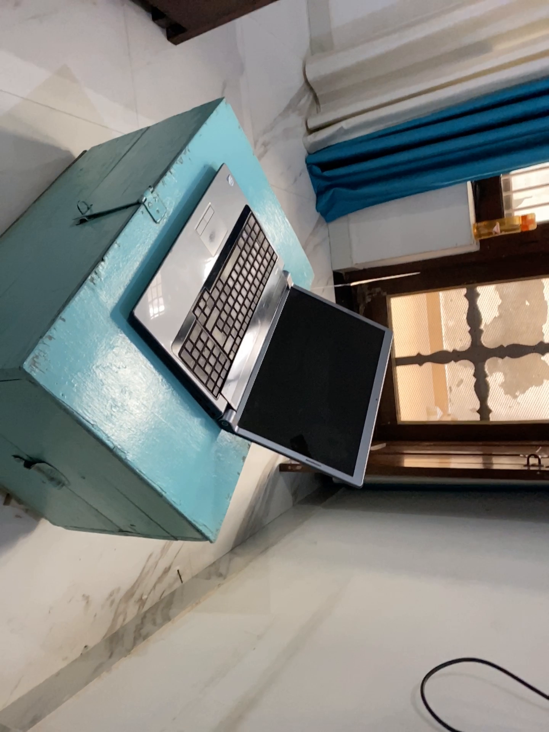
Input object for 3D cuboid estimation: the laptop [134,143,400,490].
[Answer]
[{"bbox_3d":[0.040,-0.070,1.016,0.479,0.178,0.390,56,41,-39],"label":"laptop"}]
